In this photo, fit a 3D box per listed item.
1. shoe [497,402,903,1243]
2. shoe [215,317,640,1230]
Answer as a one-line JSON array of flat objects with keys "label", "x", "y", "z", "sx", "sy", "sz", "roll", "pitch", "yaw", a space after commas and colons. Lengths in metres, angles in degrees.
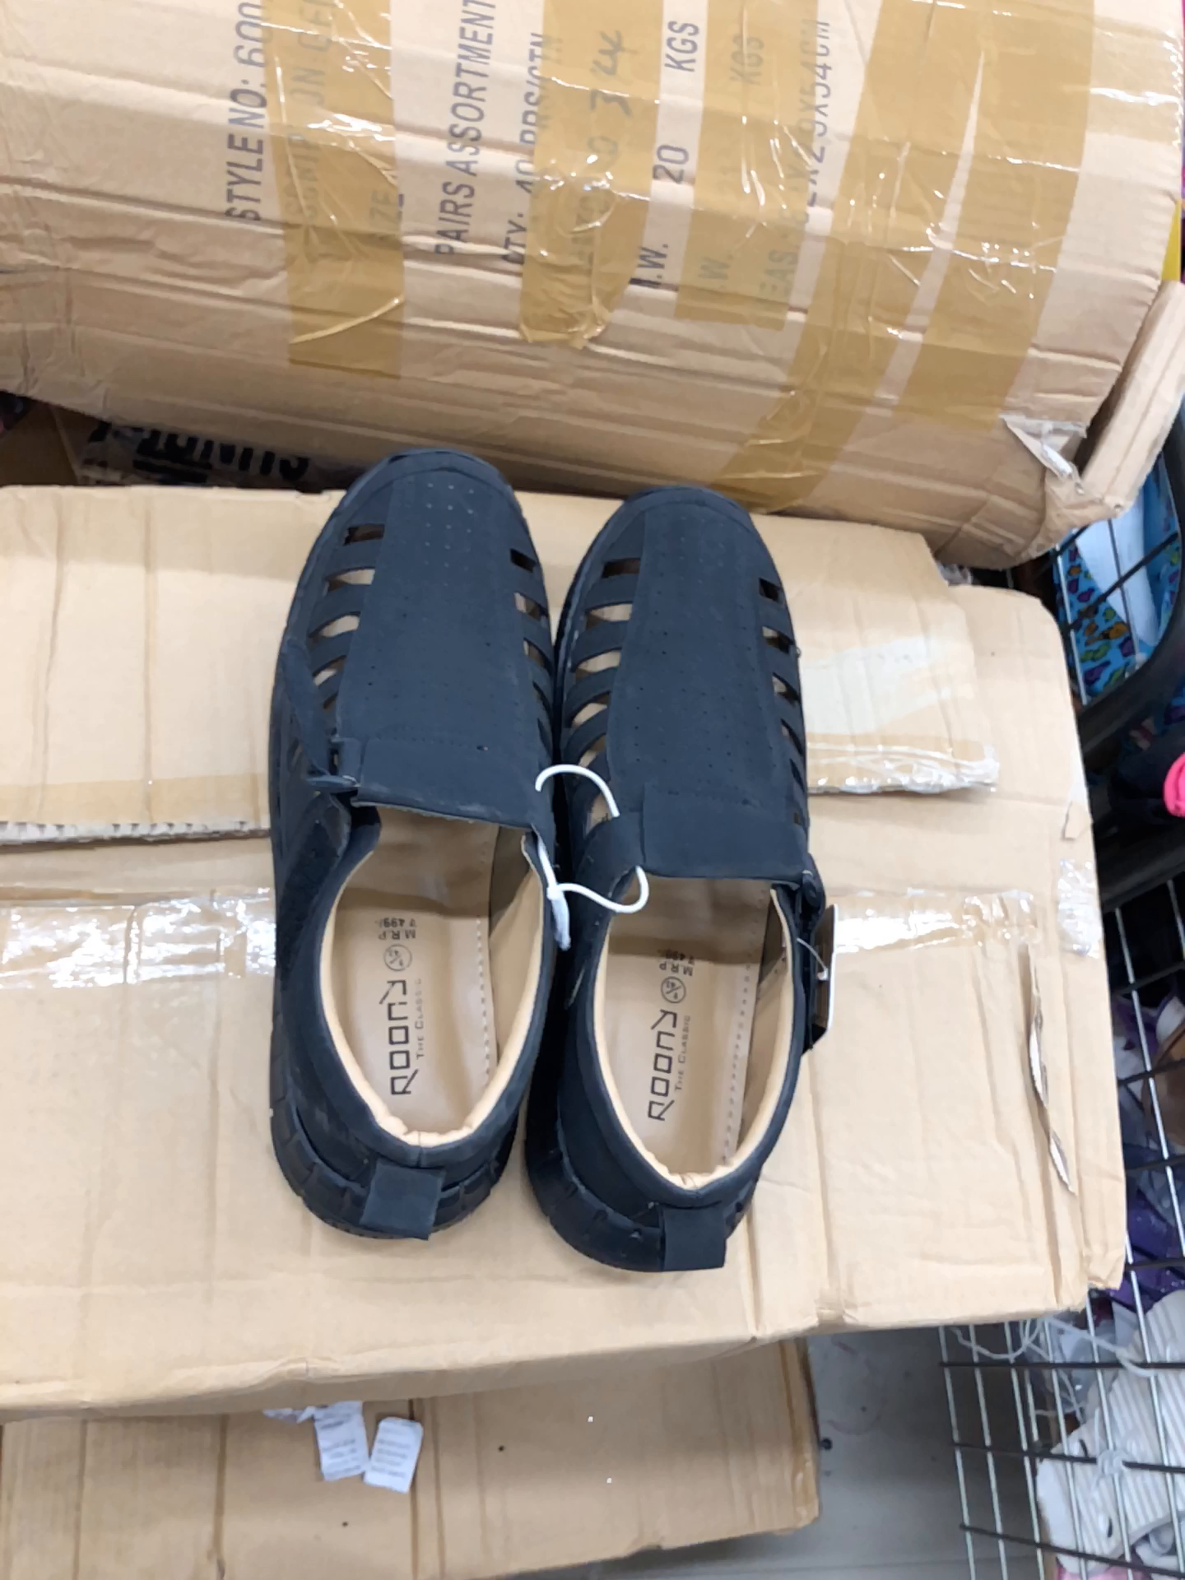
[{"label": "shoe", "x": 0.029, "y": 0.011, "z": 0.463, "sx": 0.100, "sy": 0.100, "sz": 0.271, "roll": 6, "pitch": 65, "yaw": -12}, {"label": "shoe", "x": -0.062, "y": -0.008, "z": 0.440, "sx": 0.110, "sy": 0.100, "sz": 0.281, "roll": 2, "pitch": 66, "yaw": -14}]
